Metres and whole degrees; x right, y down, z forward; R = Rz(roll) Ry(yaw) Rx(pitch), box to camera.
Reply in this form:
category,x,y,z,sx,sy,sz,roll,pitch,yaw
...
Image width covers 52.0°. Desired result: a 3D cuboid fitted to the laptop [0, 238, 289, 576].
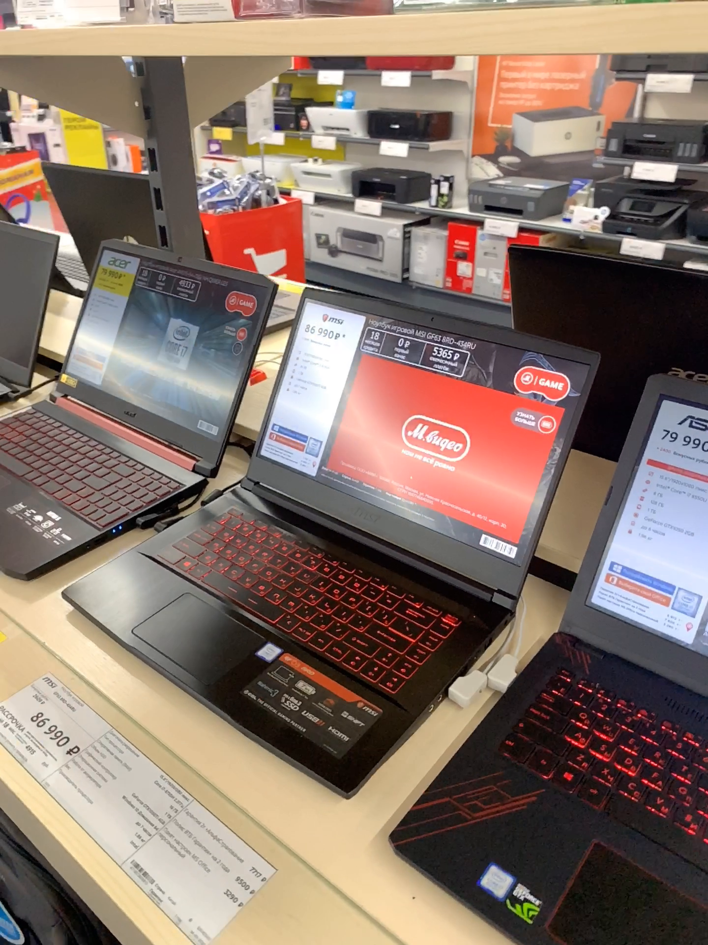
category,x,y,z,sx,sy,sz,roll,pitch,yaw
laptop,-0.339,-0.115,0.866,0.335,0.211,0.372,22,37,35

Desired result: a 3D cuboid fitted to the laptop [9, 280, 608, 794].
category,x,y,z,sx,sy,sz,roll,pitch,yaw
laptop,-0.026,0.001,0.668,0.351,0.204,0.371,21,38,32
